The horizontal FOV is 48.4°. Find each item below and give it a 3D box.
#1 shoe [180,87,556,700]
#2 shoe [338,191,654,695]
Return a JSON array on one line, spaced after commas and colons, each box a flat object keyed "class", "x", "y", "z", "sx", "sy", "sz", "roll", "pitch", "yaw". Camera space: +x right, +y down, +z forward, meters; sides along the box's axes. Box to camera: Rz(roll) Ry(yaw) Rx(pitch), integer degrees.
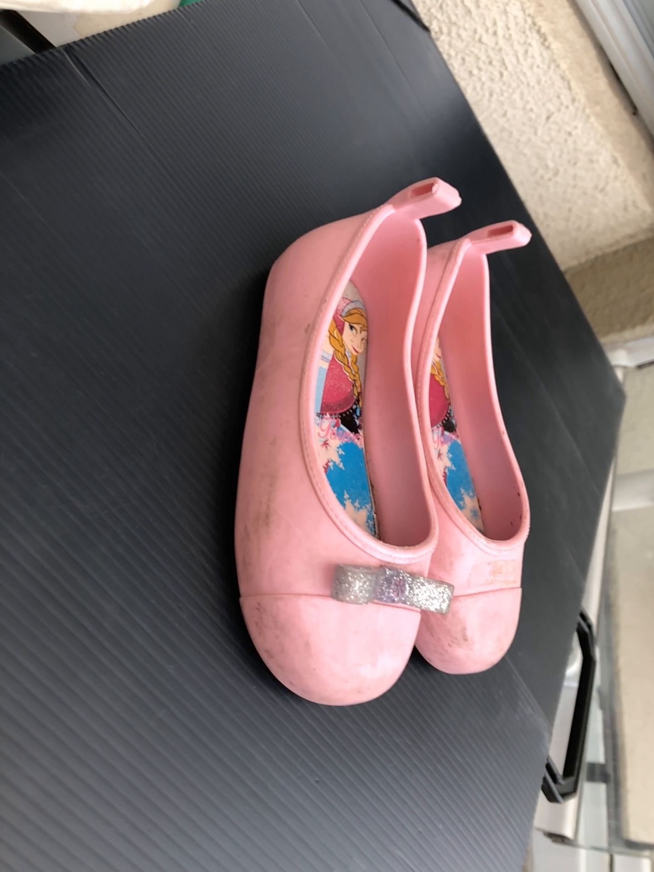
[{"class": "shoe", "x": 0.013, "y": -0.004, "z": 0.225, "sx": 0.078, "sy": 0.070, "sz": 0.160, "roll": 21, "pitch": 62, "yaw": -45}, {"class": "shoe", "x": 0.062, "y": 0.008, "z": 0.275, "sx": 0.078, "sy": 0.070, "sz": 0.160, "roll": 12, "pitch": 68, "yaw": -48}]
